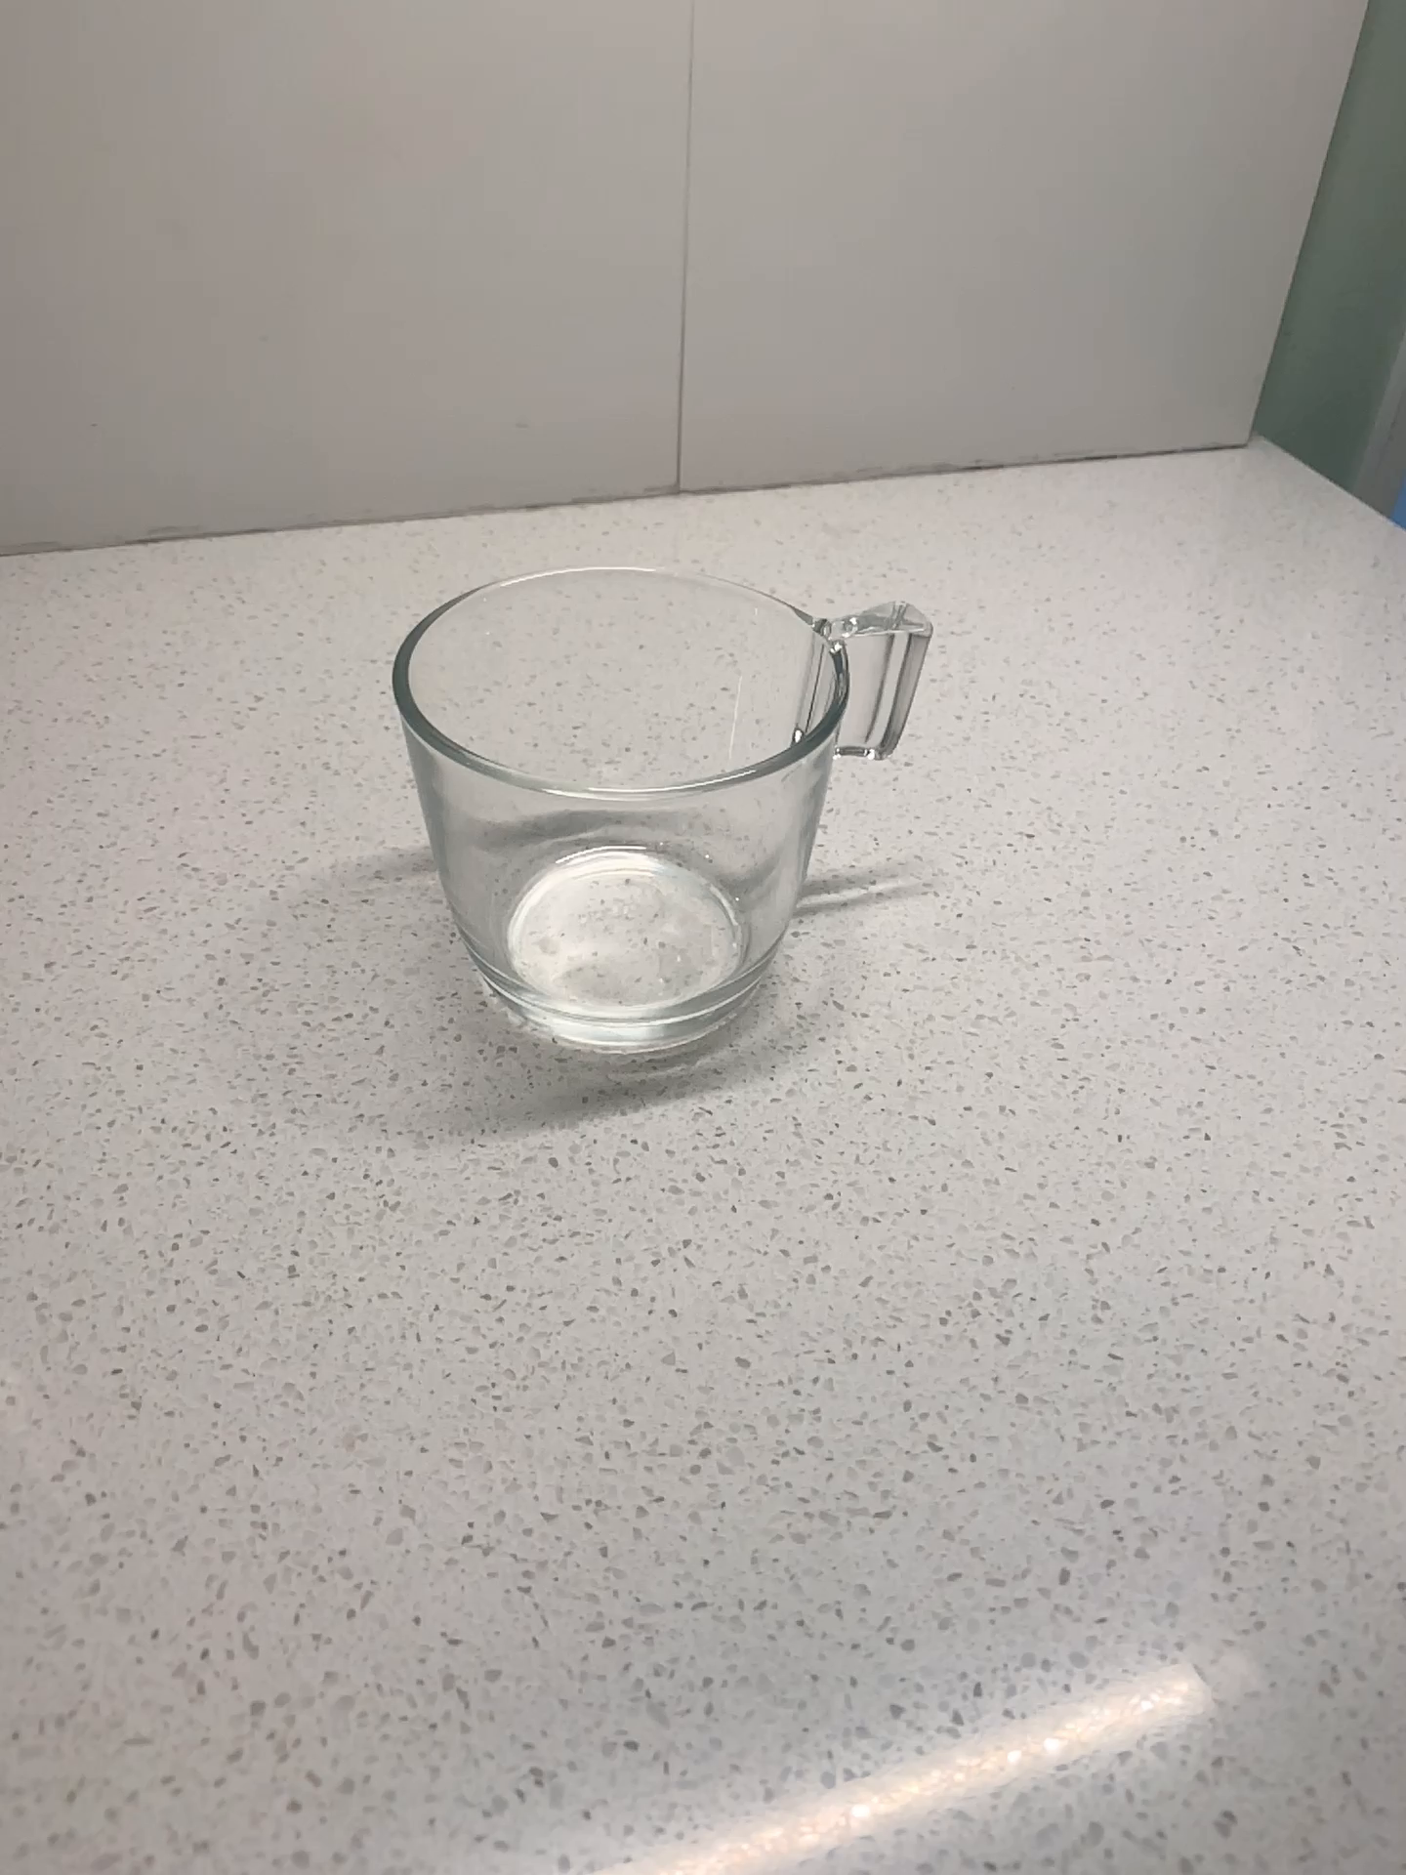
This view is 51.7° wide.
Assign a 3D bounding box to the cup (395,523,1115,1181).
[{"bbox_3d":[0.005,-0.023,0.300,0.110,0.080,0.090,-13,42,-18],"label":"cup"}]
